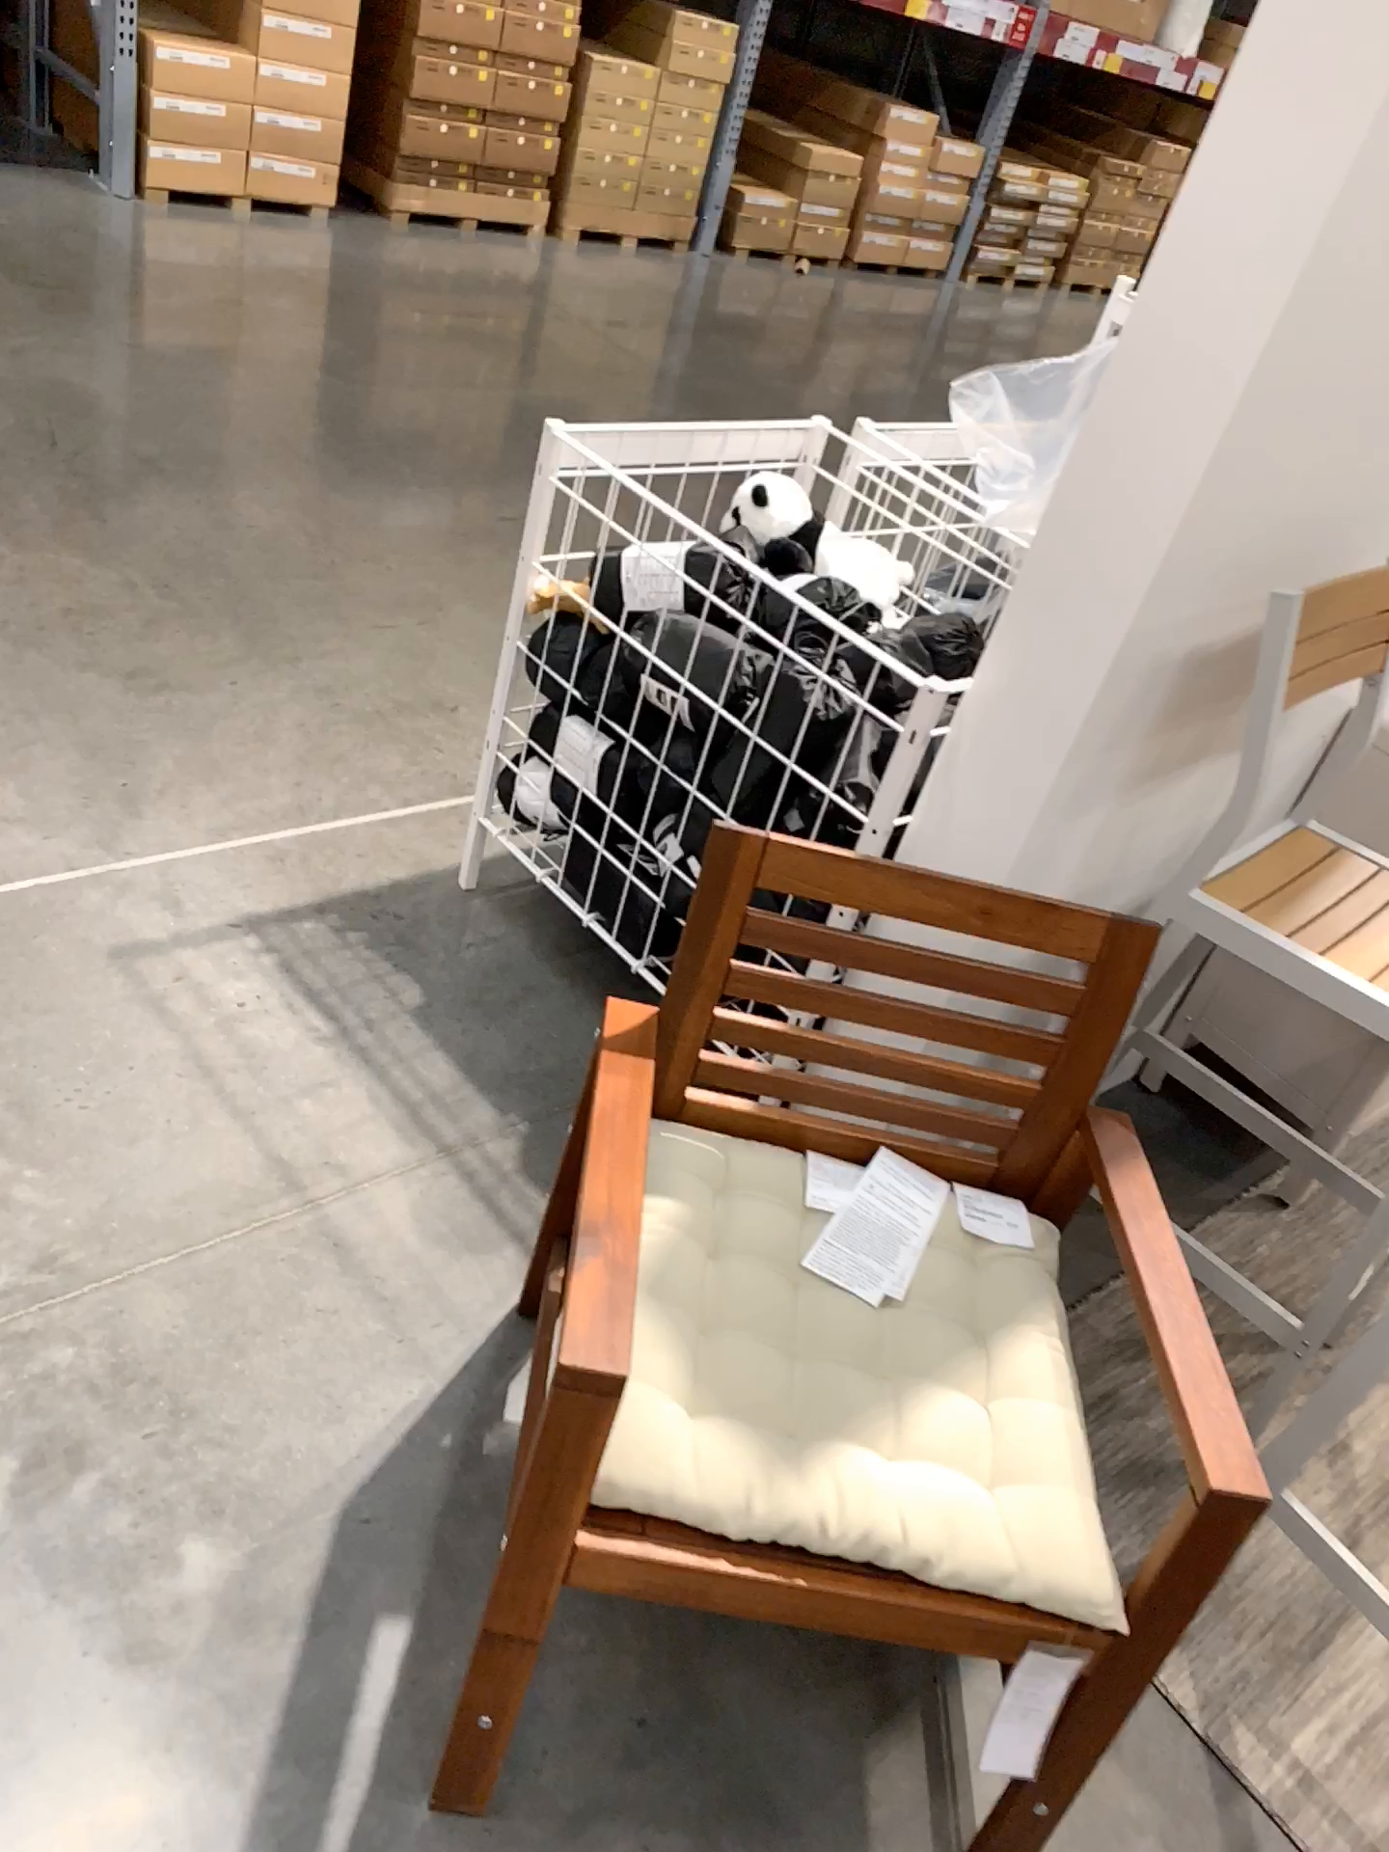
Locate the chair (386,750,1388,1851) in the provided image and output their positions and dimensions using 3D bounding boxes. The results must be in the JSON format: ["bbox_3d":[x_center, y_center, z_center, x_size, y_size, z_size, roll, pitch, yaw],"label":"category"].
[{"bbox_3d":[0.133,0.379,1.402,0.650,0.706,0.724,12,36,-8],"label":"chair"}]
